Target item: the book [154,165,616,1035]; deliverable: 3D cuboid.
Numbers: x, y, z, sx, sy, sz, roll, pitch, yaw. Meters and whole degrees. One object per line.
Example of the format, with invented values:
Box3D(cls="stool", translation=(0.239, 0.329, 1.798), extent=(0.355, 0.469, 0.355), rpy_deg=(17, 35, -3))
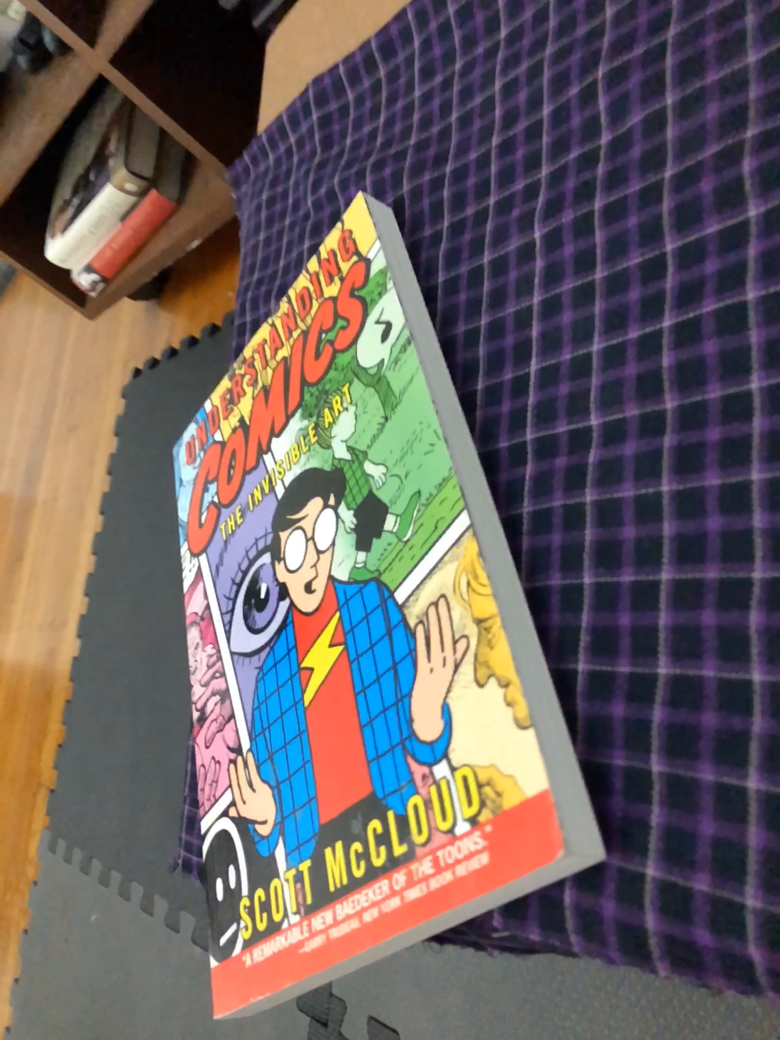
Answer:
Box3D(cls="book", translation=(-0.034, 0.018, 0.318), extent=(0.170, 0.020, 0.271), rpy_deg=(-43, 46, 35))
